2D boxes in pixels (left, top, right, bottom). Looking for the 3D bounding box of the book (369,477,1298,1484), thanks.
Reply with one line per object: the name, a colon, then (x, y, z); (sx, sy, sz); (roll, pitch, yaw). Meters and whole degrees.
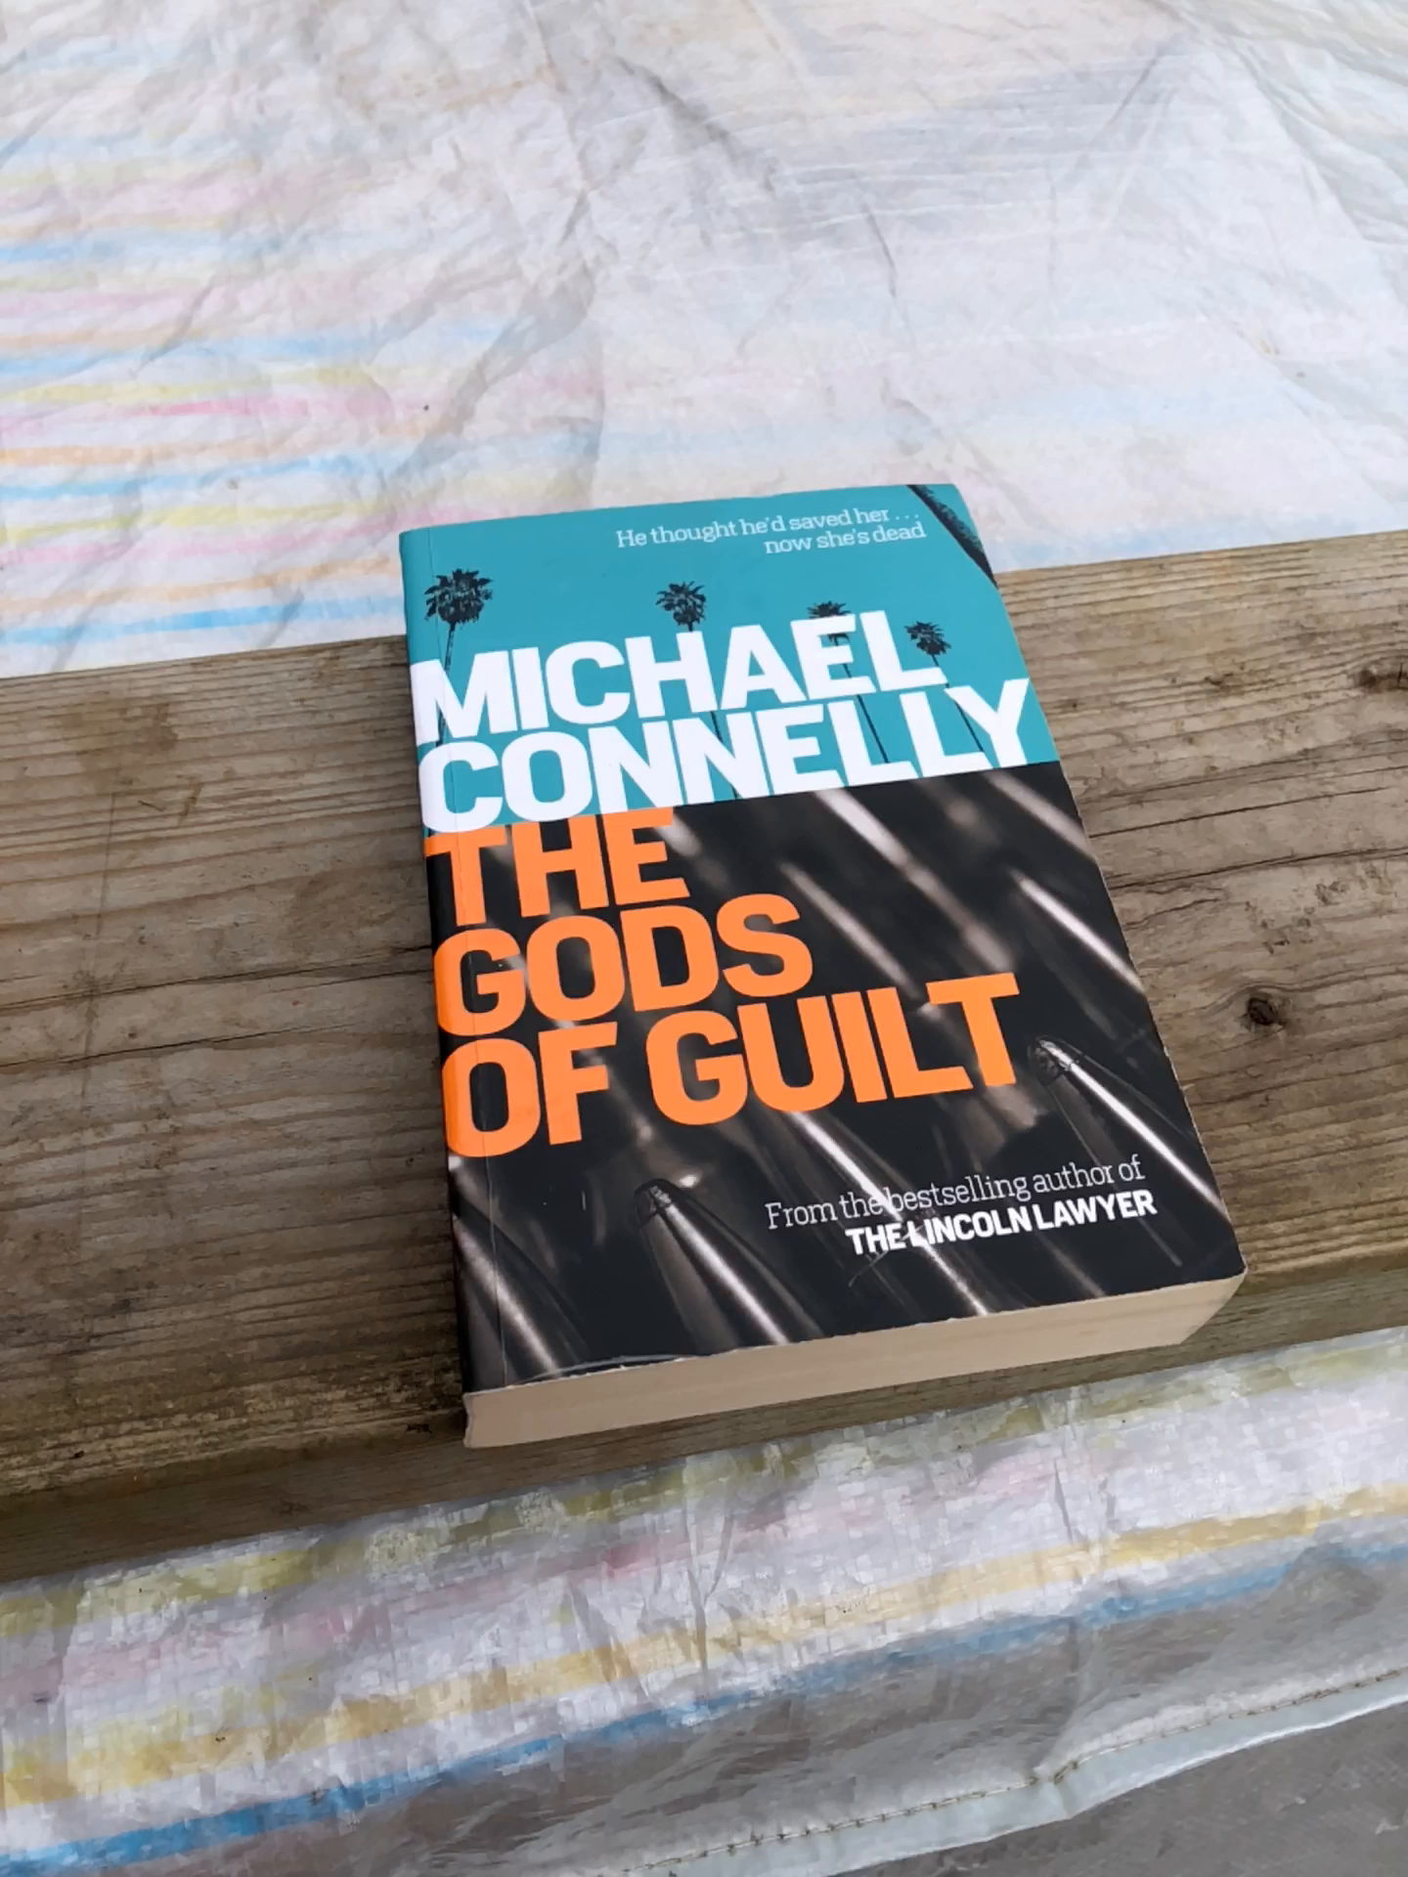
book: (0.010, -0.007, 0.317); (0.140, 0.040, 0.201); (-6, 56, -7)
